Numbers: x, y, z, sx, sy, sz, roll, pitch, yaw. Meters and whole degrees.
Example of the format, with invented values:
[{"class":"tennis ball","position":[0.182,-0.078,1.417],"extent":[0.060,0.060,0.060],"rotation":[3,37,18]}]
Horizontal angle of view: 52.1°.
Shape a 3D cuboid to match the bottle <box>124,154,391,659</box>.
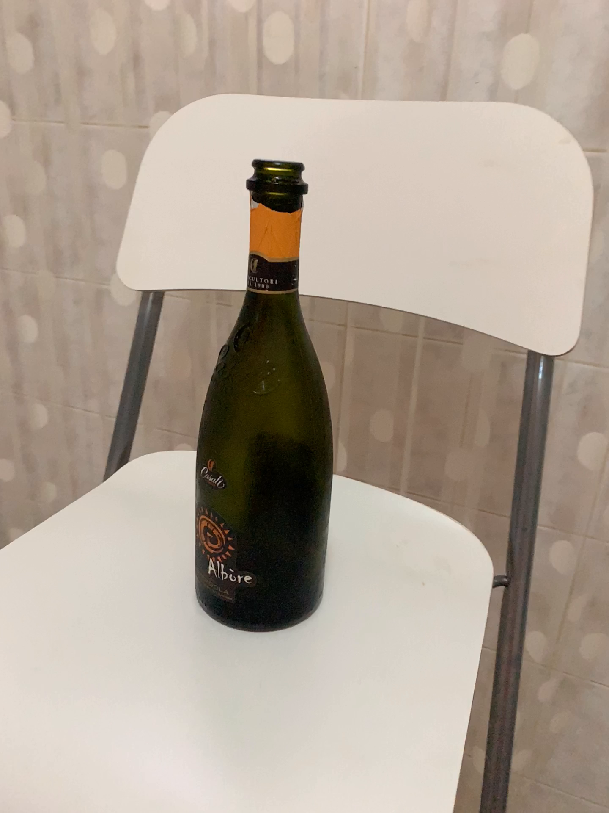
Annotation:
[{"class":"bottle","position":[-0.029,-0.003,0.374],"extent":[0.101,0.269,0.093],"rotation":[2,24,-1]}]
